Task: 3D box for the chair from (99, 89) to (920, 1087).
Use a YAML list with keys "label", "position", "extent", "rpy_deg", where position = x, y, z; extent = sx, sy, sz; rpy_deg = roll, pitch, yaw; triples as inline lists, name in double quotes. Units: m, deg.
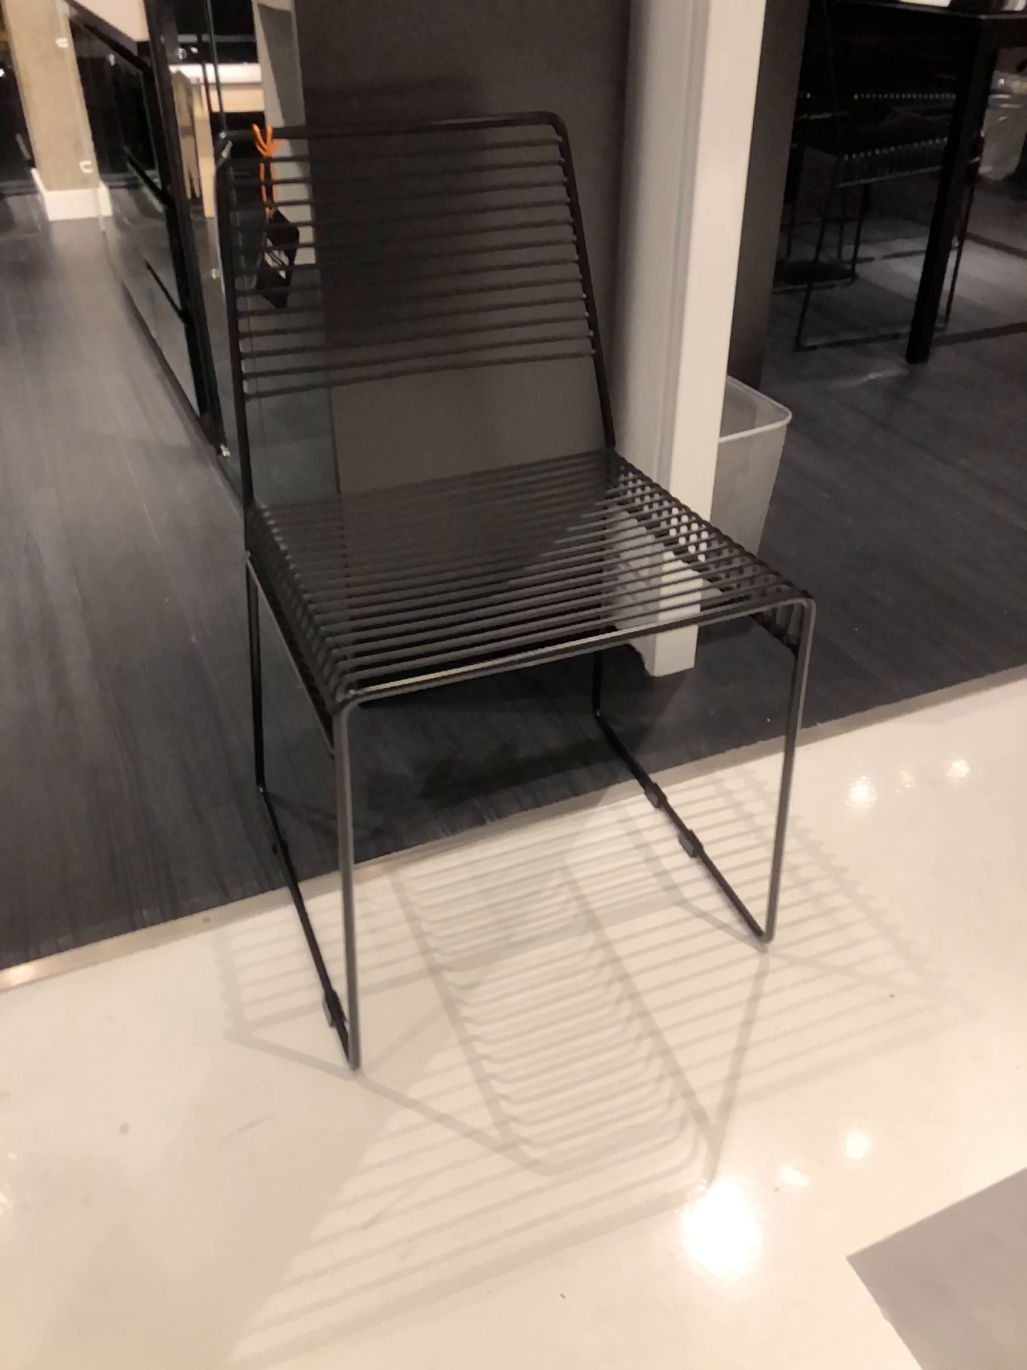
- label: "chair"
  position: [-0.043, -0.120, 1.131]
  extent: [0.521, 0.764, 0.503]
  rpy_deg: [-13, 37, -17]
